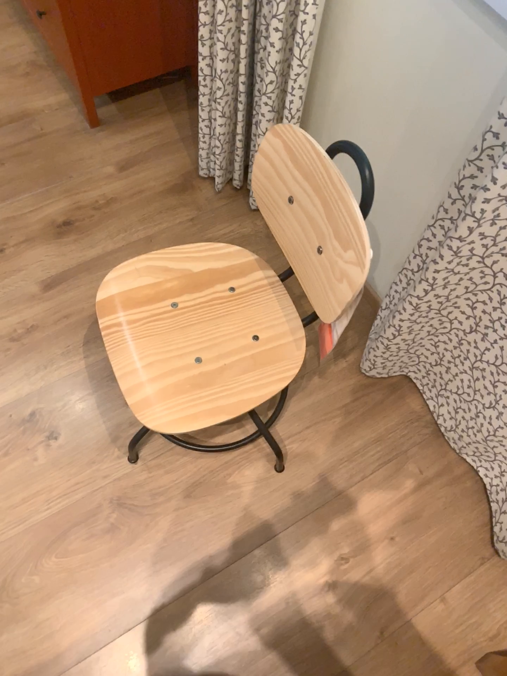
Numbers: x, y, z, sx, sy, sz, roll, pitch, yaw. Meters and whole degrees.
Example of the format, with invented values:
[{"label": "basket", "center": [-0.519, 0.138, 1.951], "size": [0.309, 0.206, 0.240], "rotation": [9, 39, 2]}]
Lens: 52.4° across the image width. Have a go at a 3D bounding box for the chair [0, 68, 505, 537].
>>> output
[{"label": "chair", "center": [-0.069, -0.021, 0.981], "size": [0.630, 0.599, 0.491], "rotation": [-20, 68, -14]}]
